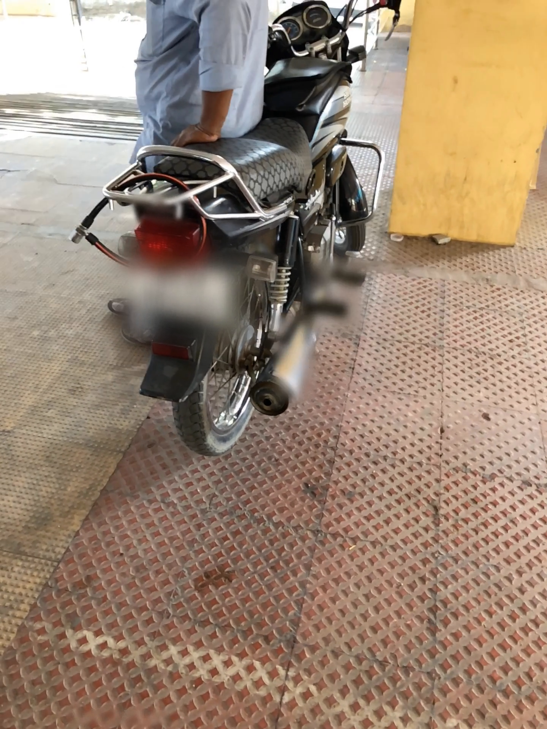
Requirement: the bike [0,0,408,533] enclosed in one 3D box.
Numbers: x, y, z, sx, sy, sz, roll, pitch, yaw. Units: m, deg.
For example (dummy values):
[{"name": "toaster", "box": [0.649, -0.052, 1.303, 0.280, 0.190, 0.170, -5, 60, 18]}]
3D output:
[{"name": "bike", "box": [-0.028, -0.593, 1.873, 0.677, 1.036, 1.687, 8, 39, 11]}]
